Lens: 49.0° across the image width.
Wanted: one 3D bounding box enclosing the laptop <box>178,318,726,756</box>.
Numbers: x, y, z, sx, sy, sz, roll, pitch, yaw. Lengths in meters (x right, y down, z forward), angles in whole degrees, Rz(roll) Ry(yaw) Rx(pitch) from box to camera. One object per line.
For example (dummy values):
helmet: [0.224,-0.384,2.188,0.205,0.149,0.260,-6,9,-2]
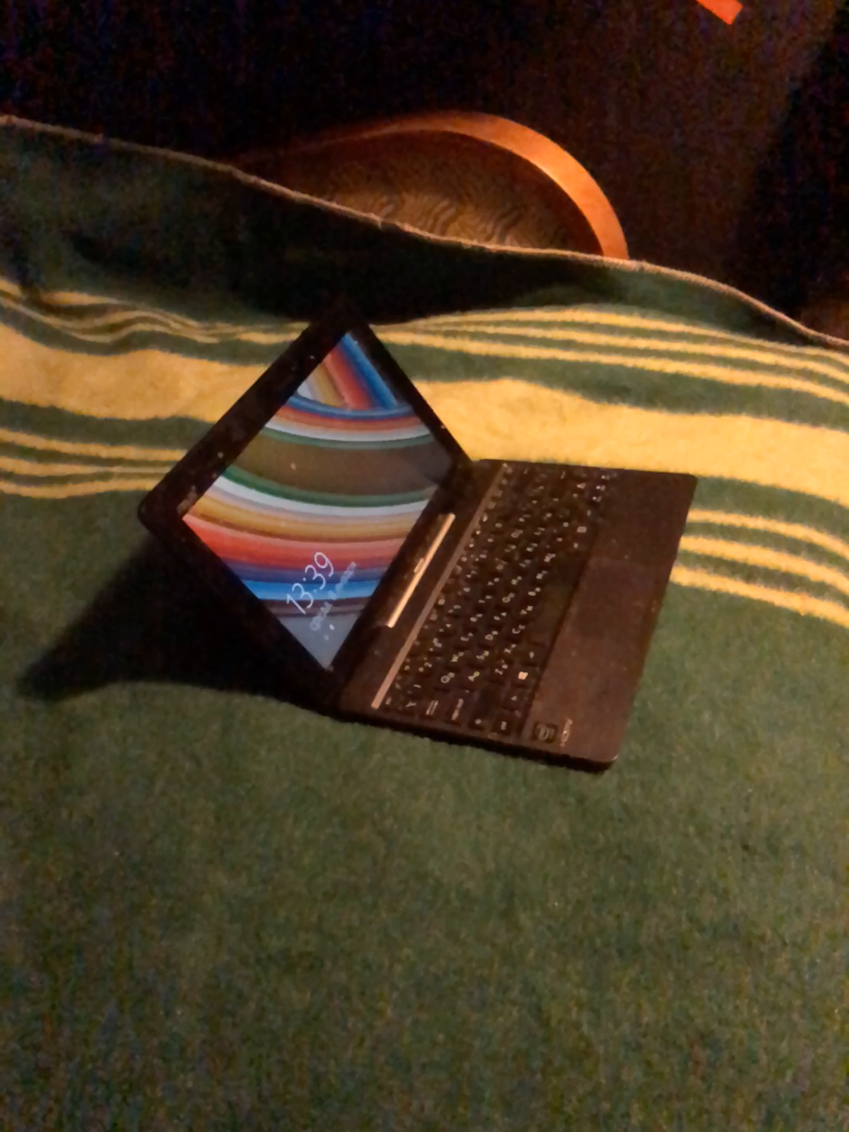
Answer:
laptop: [0.028,-0.041,0.594,0.257,0.116,0.258,9,43,20]
